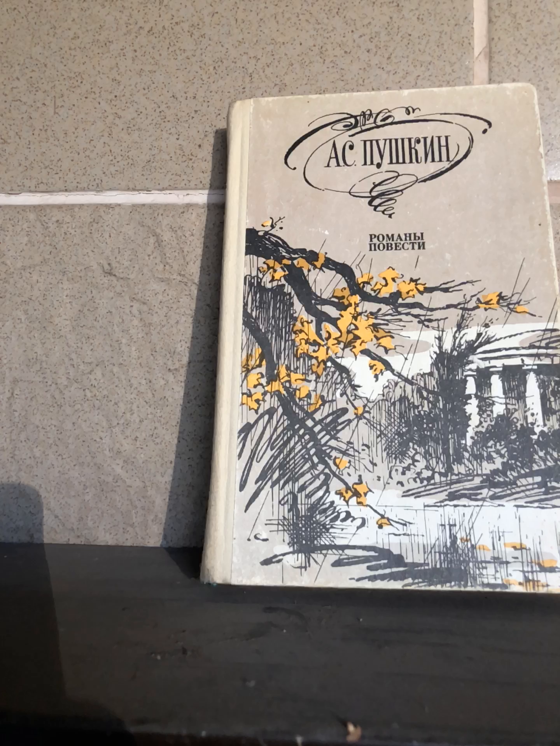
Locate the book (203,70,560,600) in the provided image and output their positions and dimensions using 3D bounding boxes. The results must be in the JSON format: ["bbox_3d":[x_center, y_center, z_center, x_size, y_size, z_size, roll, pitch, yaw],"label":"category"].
[{"bbox_3d":[0.042,-0.020,0.244,0.125,0.198,0.040,1,-16,5],"label":"book"}]
